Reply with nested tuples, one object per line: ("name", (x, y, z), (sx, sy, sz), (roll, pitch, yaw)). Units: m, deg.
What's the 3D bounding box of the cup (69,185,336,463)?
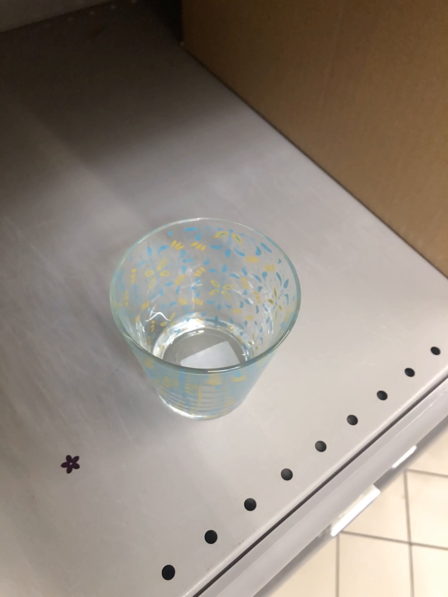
("cup", (-0.012, 0.014, 0.262), (0.084, 0.080, 0.089), (3, 57, -5))
